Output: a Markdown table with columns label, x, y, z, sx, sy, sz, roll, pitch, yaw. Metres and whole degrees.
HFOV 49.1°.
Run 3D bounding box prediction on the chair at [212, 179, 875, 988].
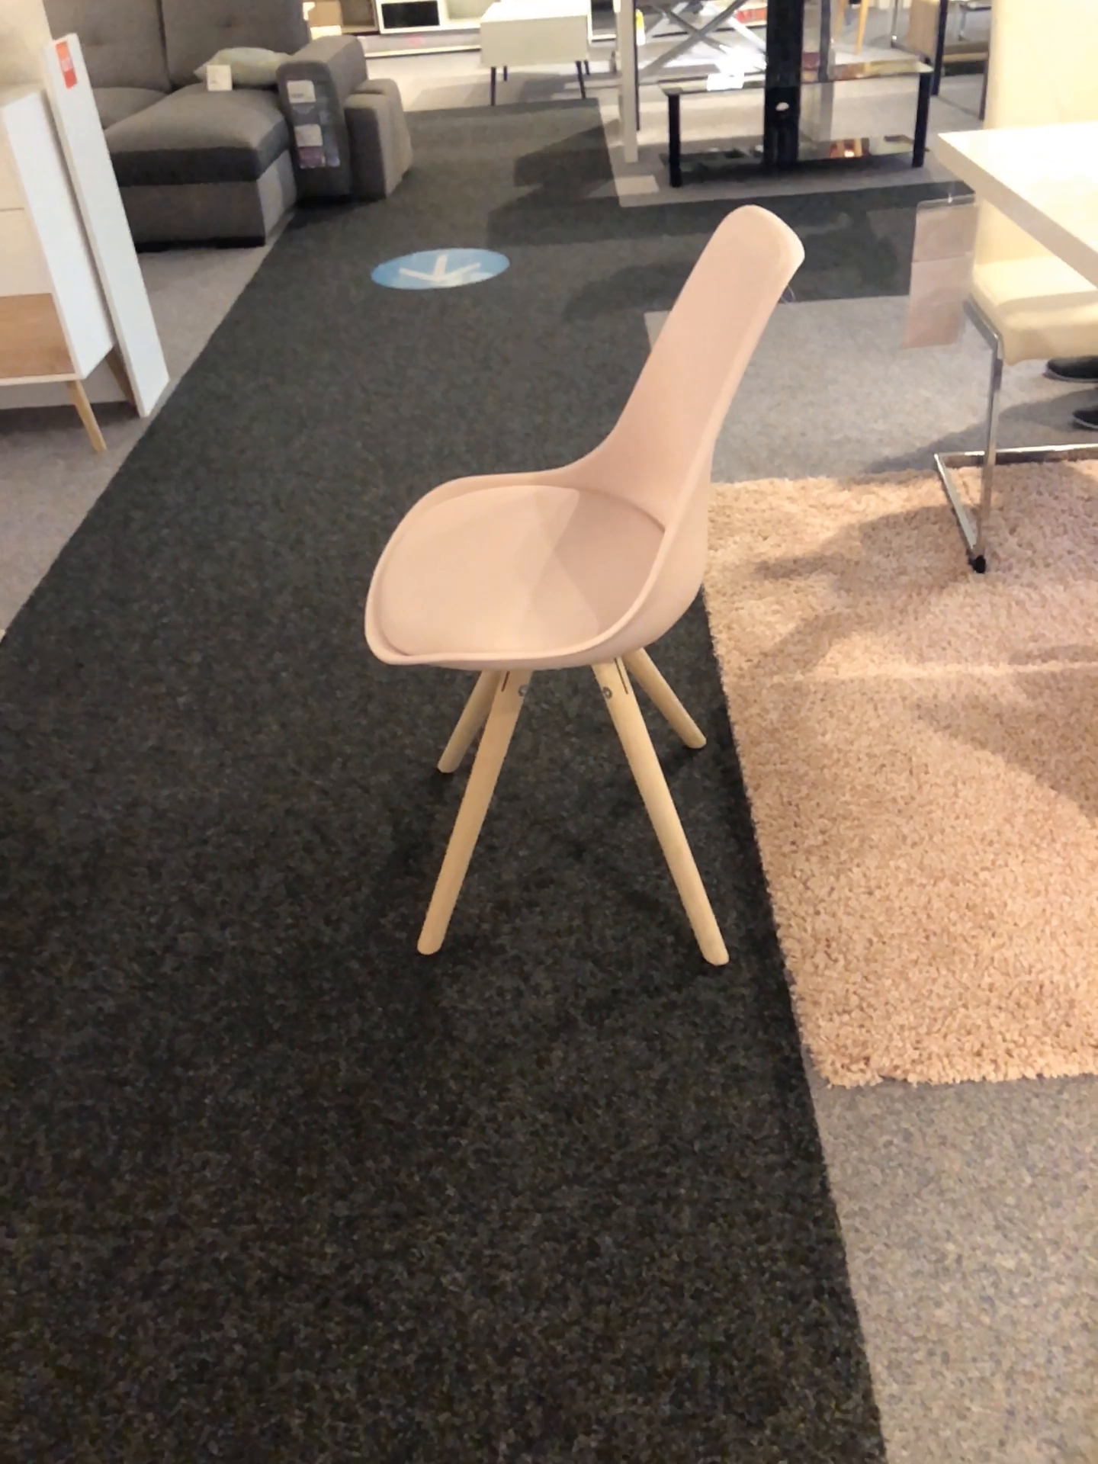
| label | x | y | z | sx | sy | sz | roll | pitch | yaw |
| --- | --- | --- | --- | --- | --- | --- | --- | --- | --- |
| chair | 0.020 | -0.183 | 1.466 | 0.560 | 0.766 | 0.573 | -3 | 35 | 2 |
